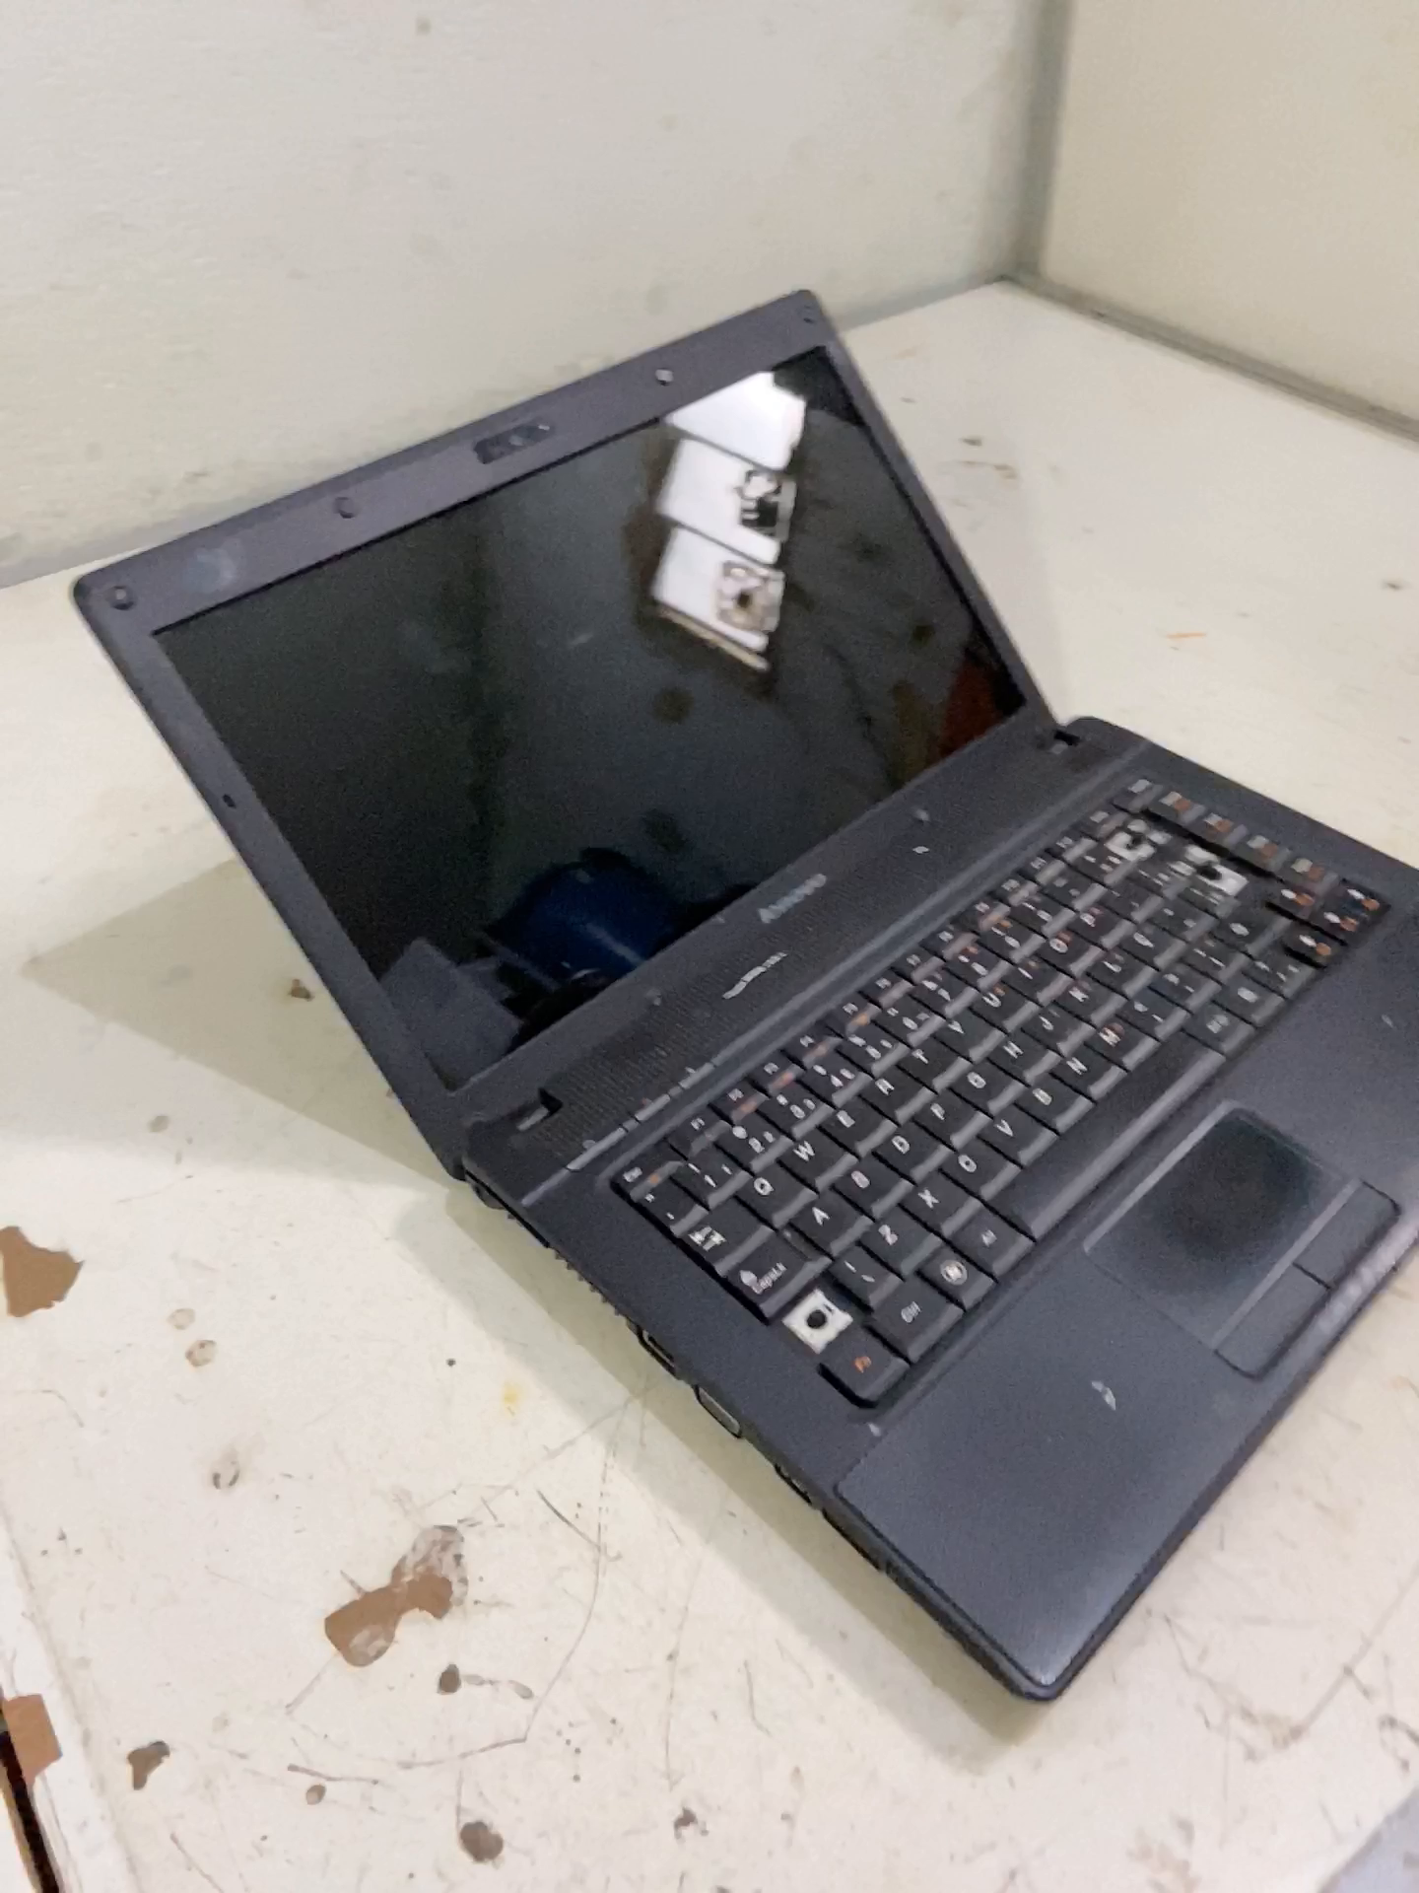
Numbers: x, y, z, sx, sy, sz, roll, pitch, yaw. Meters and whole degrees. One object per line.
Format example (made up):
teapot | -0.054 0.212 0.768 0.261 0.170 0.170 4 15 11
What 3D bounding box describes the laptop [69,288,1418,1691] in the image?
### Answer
laptop | 0.063 -0.059 0.512 0.359 0.147 0.423 -34 51 -30
